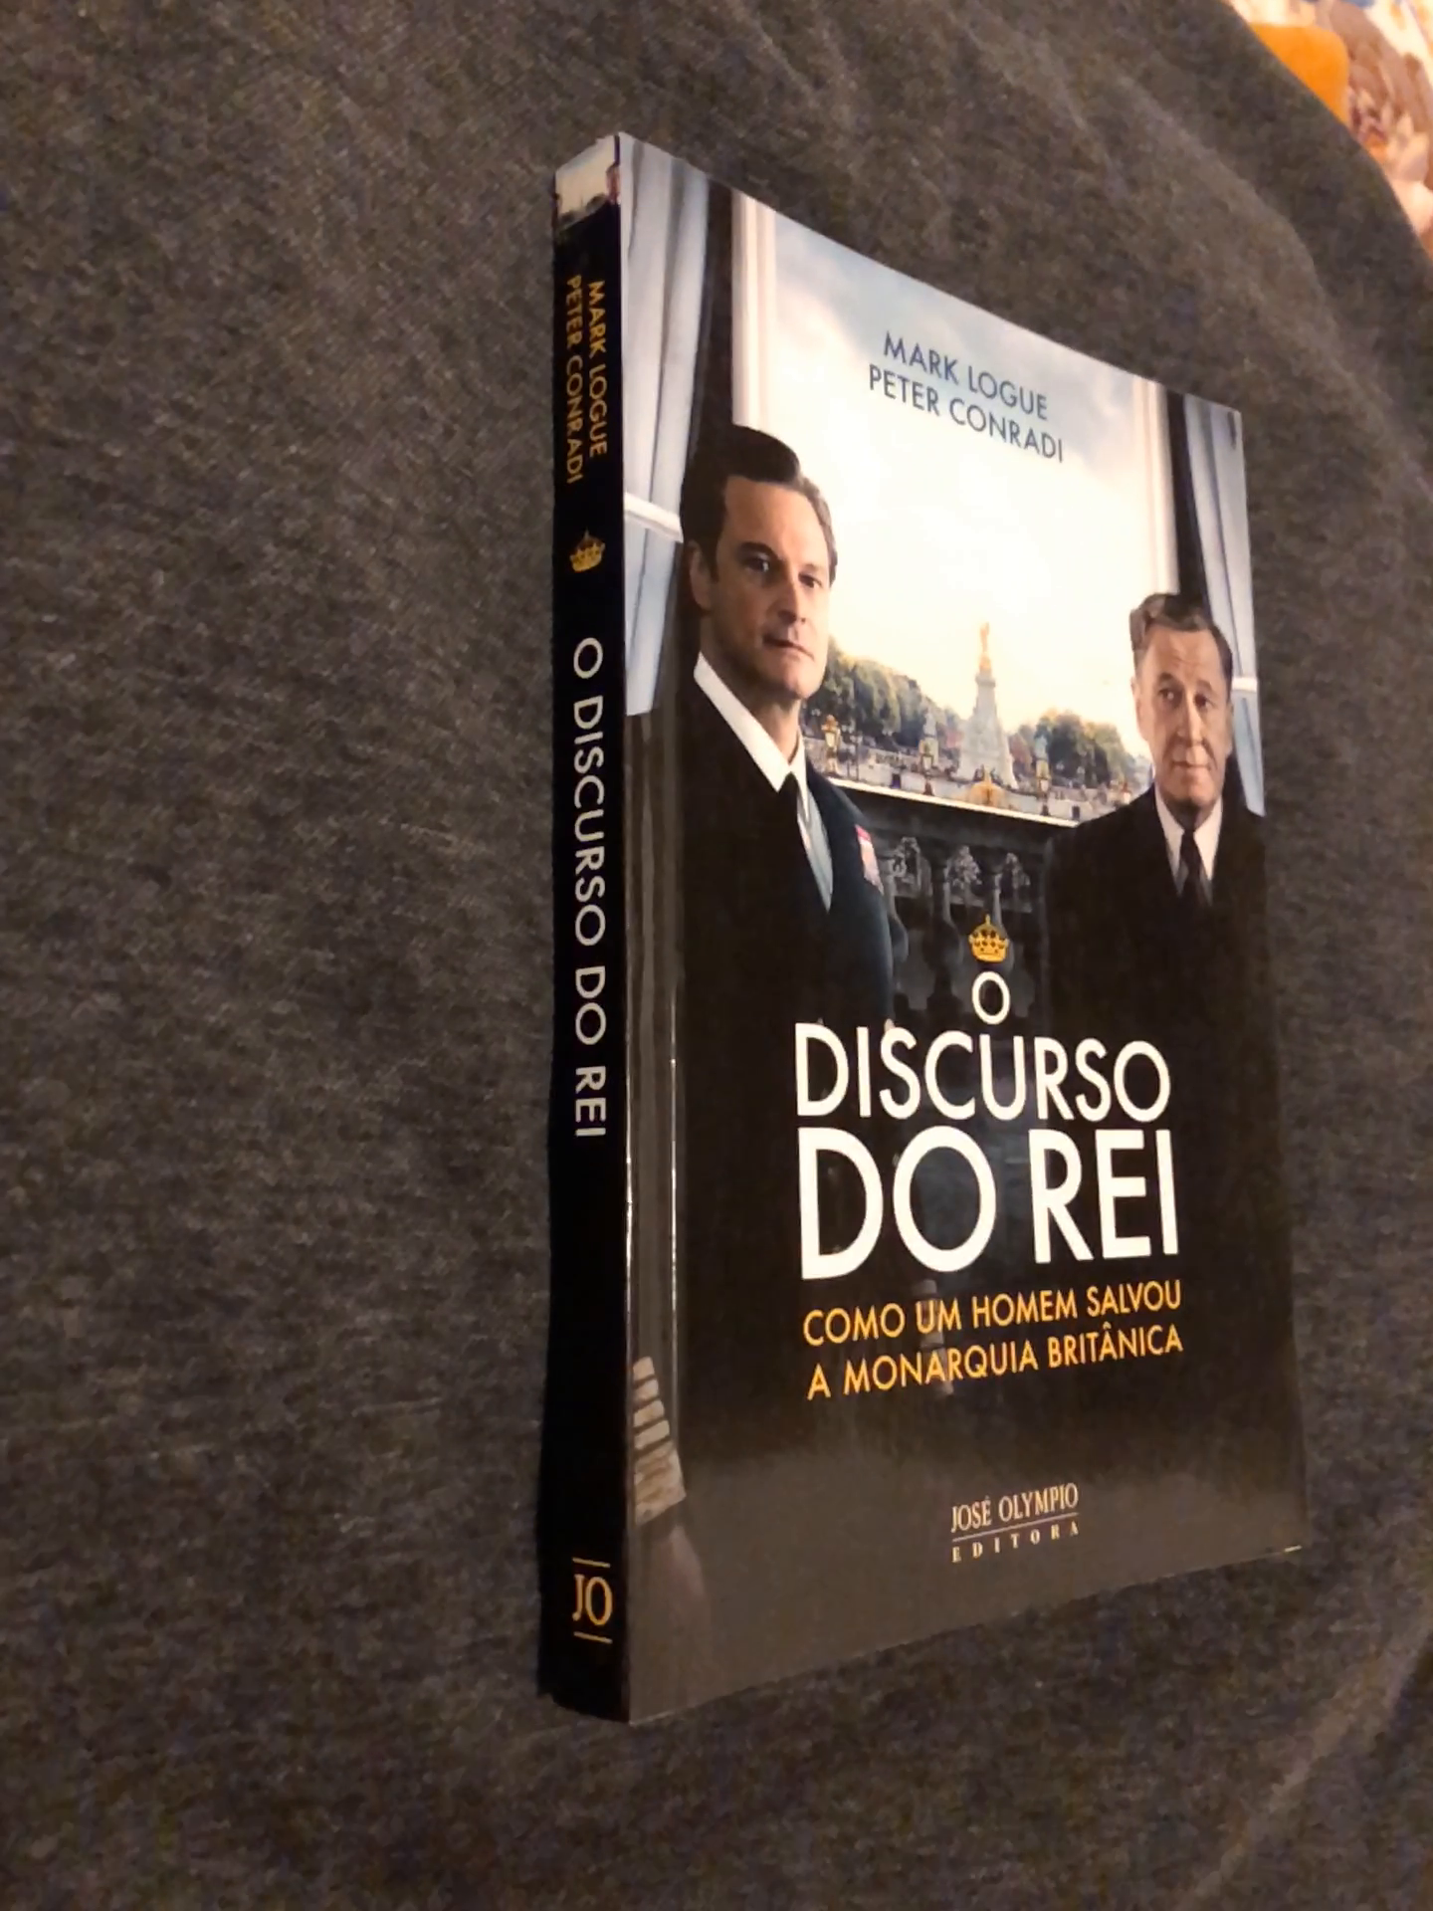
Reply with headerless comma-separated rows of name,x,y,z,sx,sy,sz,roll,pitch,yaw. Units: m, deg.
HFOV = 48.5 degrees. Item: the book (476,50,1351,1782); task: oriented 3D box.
book,0.038,-0.007,0.268,0.161,0.030,0.230,6,79,-37
